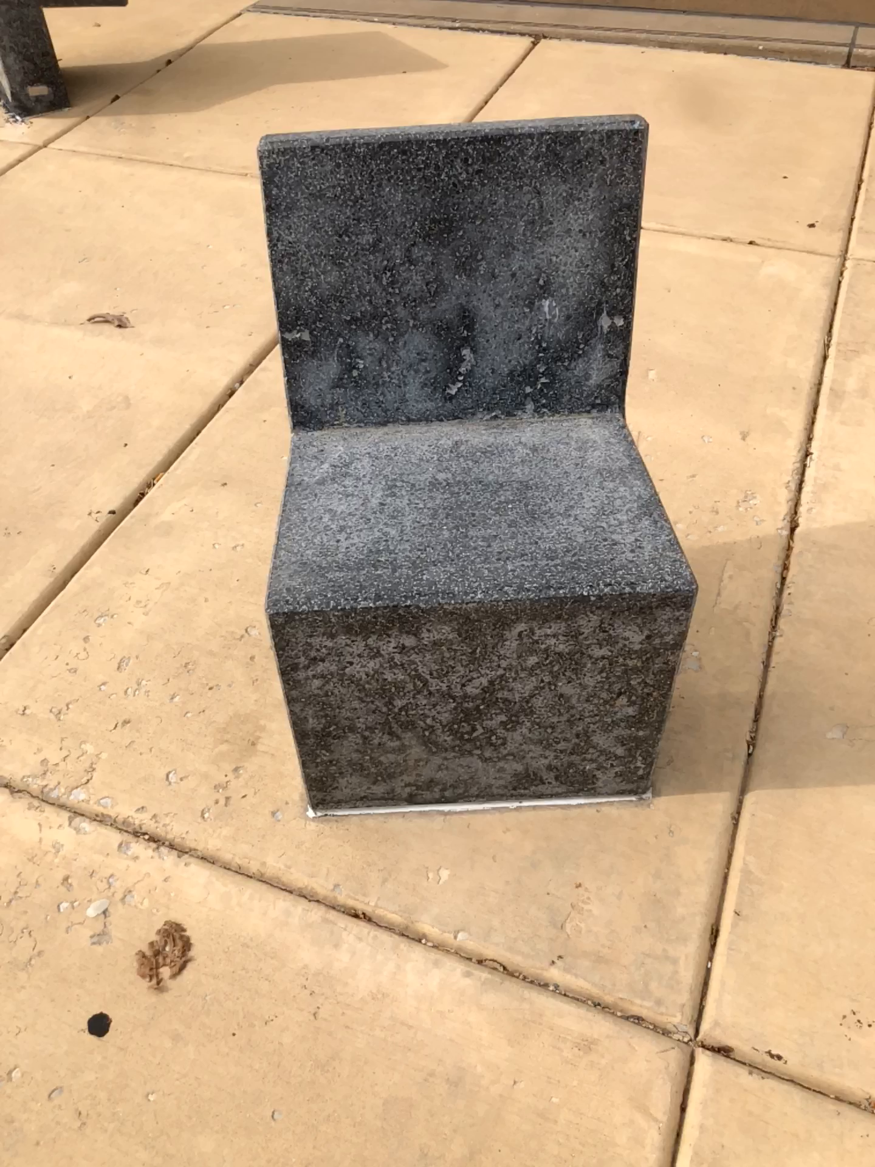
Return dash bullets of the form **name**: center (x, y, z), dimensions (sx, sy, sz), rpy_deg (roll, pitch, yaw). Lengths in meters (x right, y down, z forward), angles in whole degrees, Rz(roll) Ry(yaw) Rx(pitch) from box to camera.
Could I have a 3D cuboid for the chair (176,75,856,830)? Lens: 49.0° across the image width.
- **chair**: center (0.053, -0.170, 1.264), dimensions (0.570, 0.798, 0.561), rpy_deg (-2, 37, -3)
